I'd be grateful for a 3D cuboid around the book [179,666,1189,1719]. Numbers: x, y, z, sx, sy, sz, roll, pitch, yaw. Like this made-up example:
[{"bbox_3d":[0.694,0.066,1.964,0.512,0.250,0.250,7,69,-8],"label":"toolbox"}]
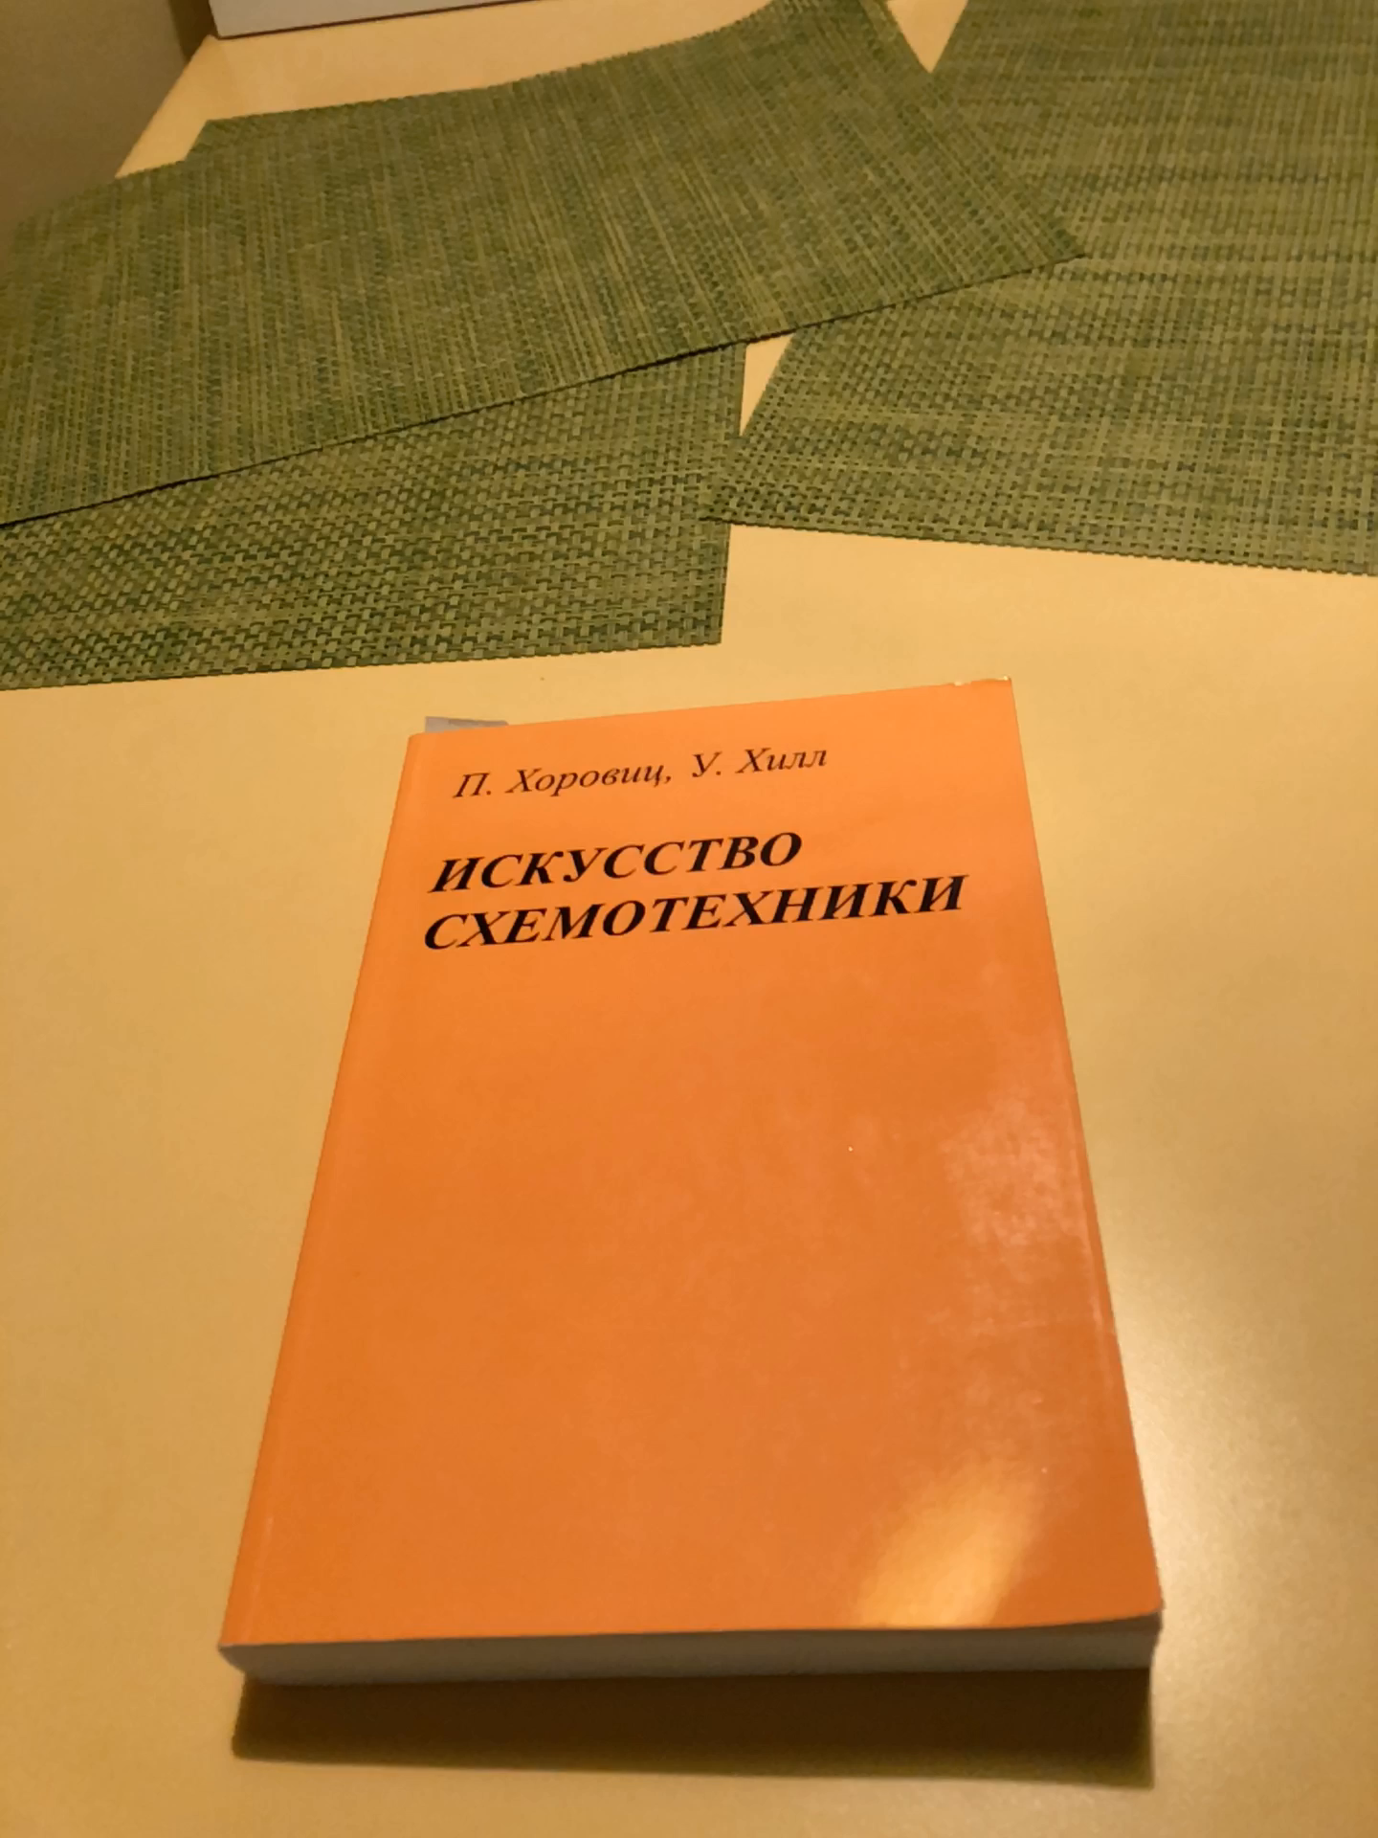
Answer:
[{"bbox_3d":[0.003,0.046,0.348,0.171,0.048,0.239,-4,49,7],"label":"book"}]
